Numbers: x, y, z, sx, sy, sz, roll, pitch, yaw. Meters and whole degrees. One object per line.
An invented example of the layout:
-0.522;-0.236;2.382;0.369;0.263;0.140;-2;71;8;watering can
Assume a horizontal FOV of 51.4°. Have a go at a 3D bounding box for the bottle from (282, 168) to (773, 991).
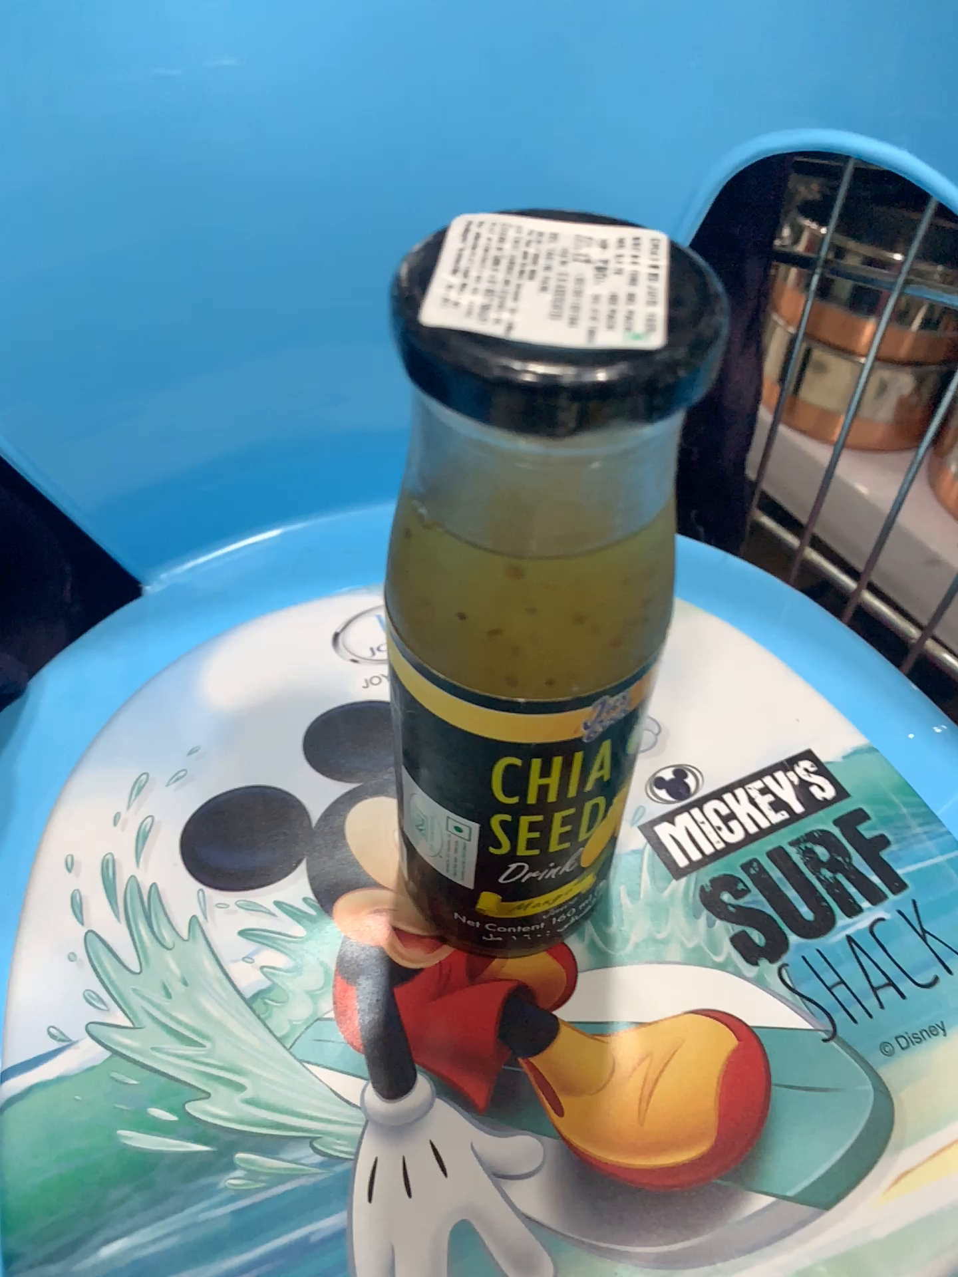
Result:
0.005;0.000;0.178;0.050;0.140;0.050;-1;44;1;bottle
